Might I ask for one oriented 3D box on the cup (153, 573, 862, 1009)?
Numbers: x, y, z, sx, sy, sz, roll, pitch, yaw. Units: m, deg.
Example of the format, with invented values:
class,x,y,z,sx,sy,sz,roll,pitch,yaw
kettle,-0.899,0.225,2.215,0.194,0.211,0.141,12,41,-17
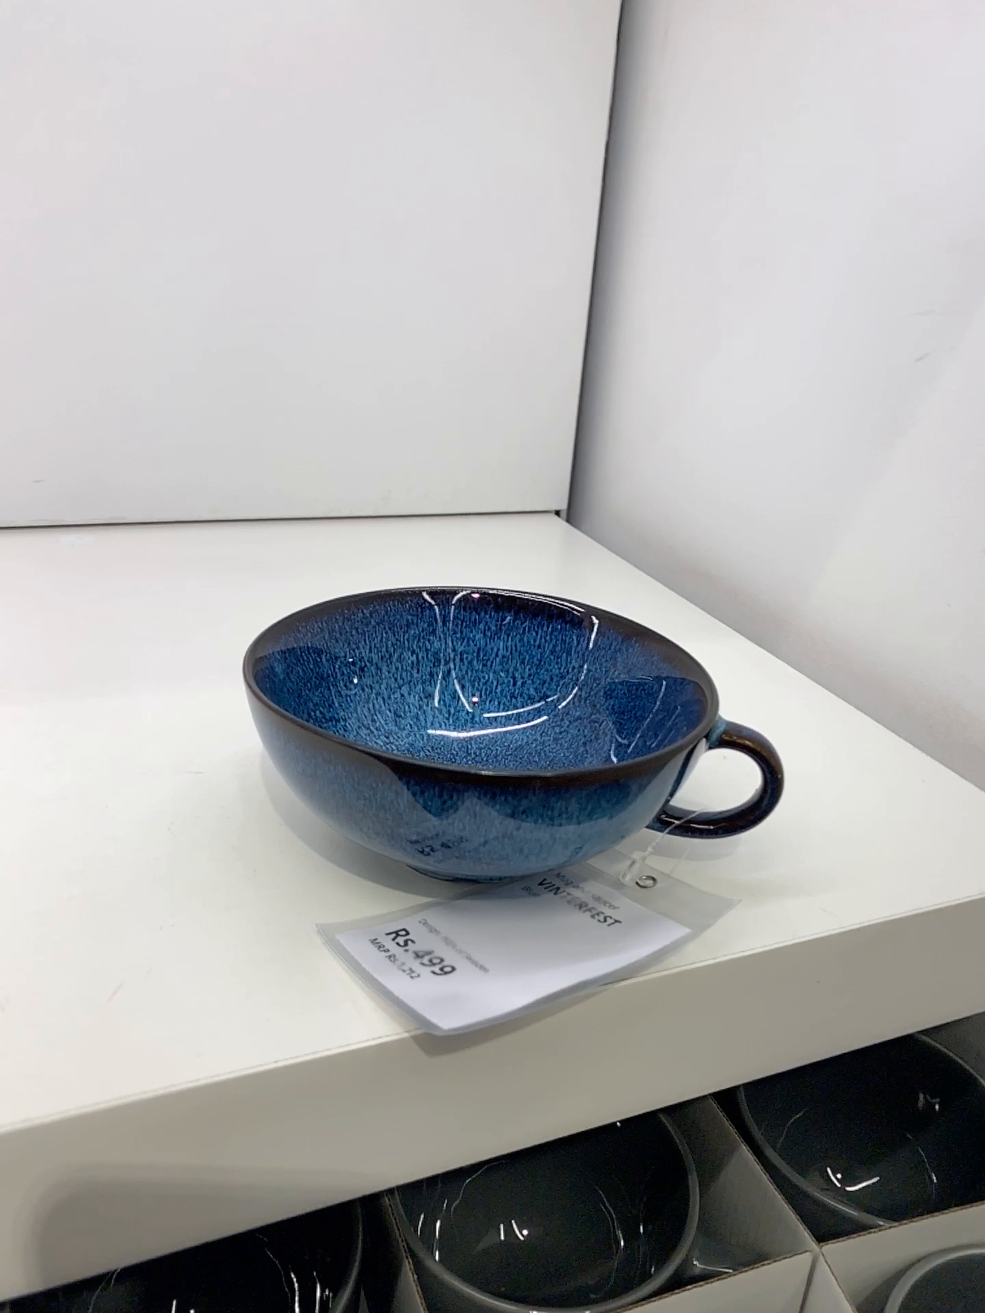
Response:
class,x,y,z,sx,sy,sz,roll,pitch,yaw
cup,0.007,0.027,0.296,0.160,0.050,0.130,7,22,5
